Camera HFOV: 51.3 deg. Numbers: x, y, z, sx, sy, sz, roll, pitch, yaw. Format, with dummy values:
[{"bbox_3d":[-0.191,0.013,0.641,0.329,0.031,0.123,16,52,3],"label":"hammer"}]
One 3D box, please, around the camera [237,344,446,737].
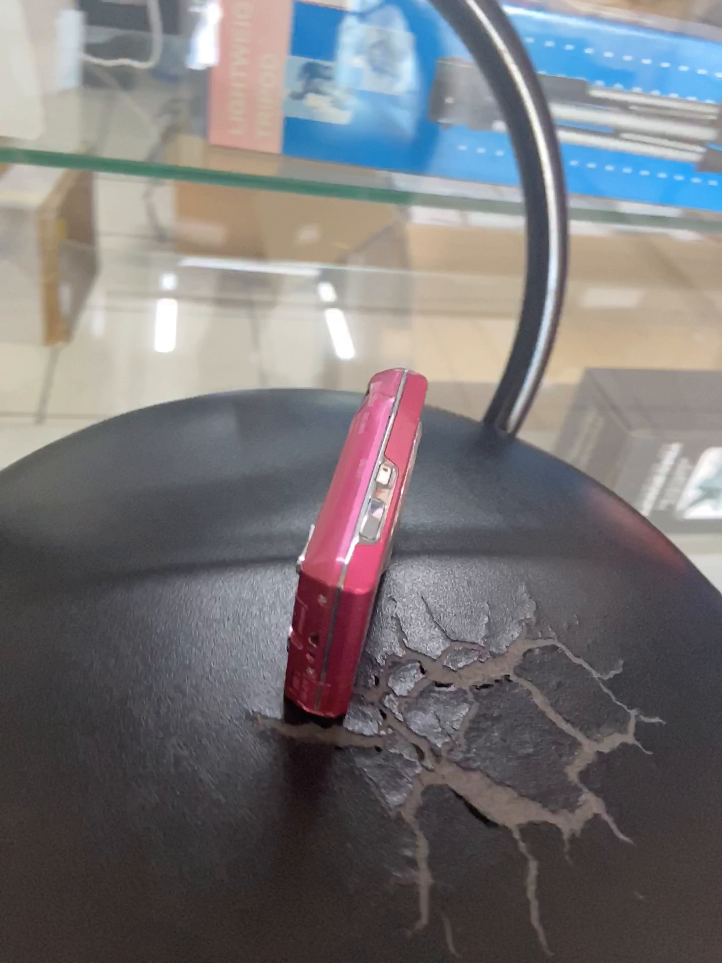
[{"bbox_3d":[-0.002,0.010,0.211,0.030,0.050,0.101,14,40,5],"label":"camera"}]
